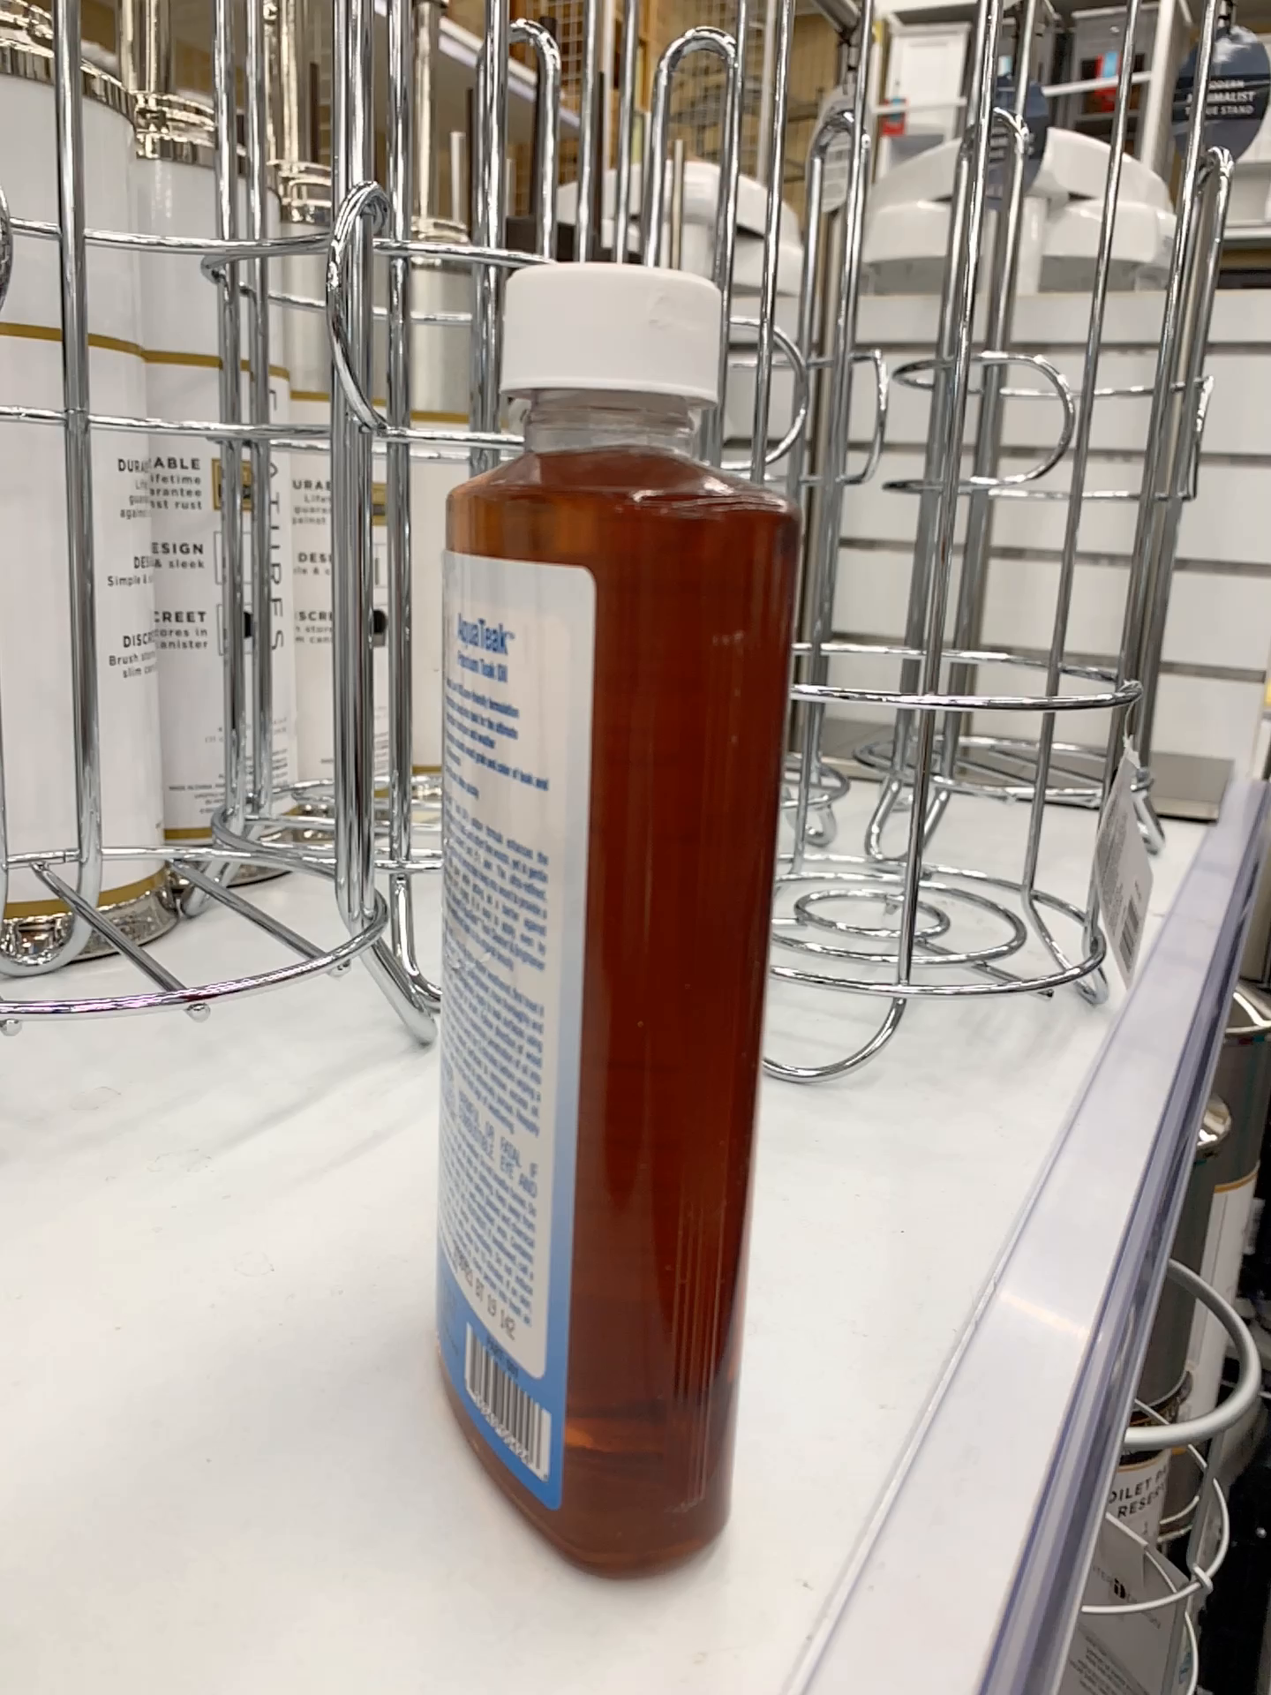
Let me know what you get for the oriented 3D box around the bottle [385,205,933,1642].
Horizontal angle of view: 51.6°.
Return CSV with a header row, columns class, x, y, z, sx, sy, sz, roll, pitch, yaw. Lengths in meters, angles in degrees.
class,x,y,z,sx,sy,sz,roll,pitch,yaw
bottle,-0.007,0.011,0.229,0.045,0.207,0.088,-5,16,-29
